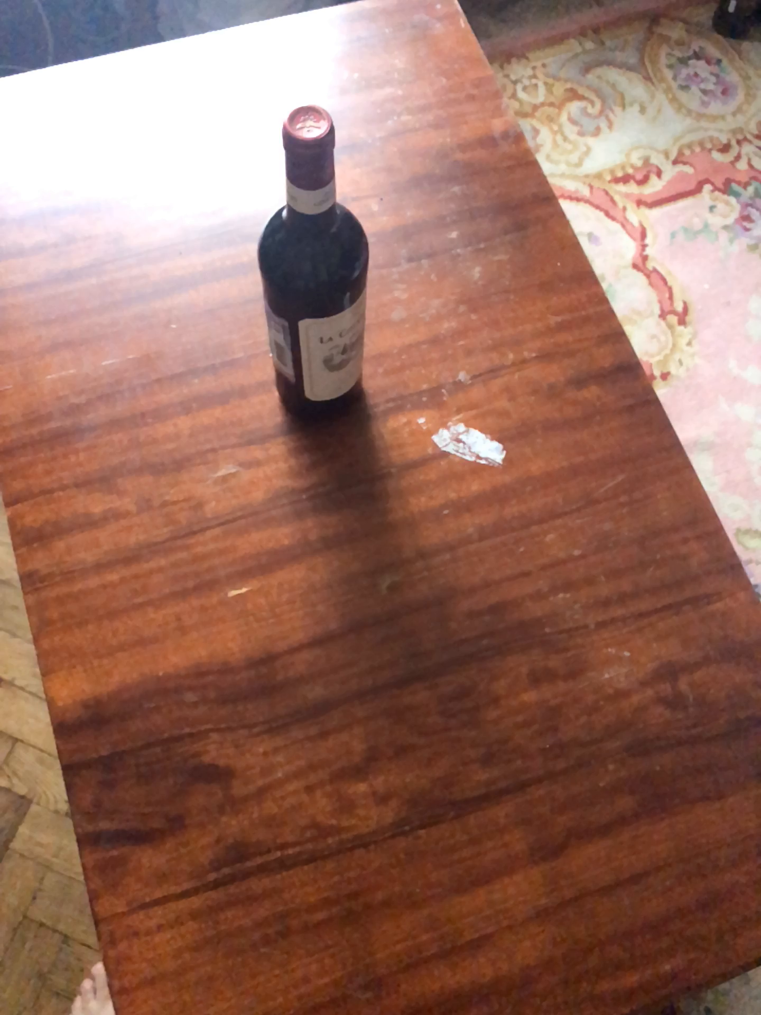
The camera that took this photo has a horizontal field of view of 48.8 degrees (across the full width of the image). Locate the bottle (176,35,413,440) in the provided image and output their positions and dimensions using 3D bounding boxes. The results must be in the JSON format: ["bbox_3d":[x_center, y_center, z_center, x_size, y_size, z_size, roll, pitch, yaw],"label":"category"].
[{"bbox_3d":[-0.048,-0.158,0.571,0.090,0.269,0.090,0,71,-1],"label":"bottle"}]
